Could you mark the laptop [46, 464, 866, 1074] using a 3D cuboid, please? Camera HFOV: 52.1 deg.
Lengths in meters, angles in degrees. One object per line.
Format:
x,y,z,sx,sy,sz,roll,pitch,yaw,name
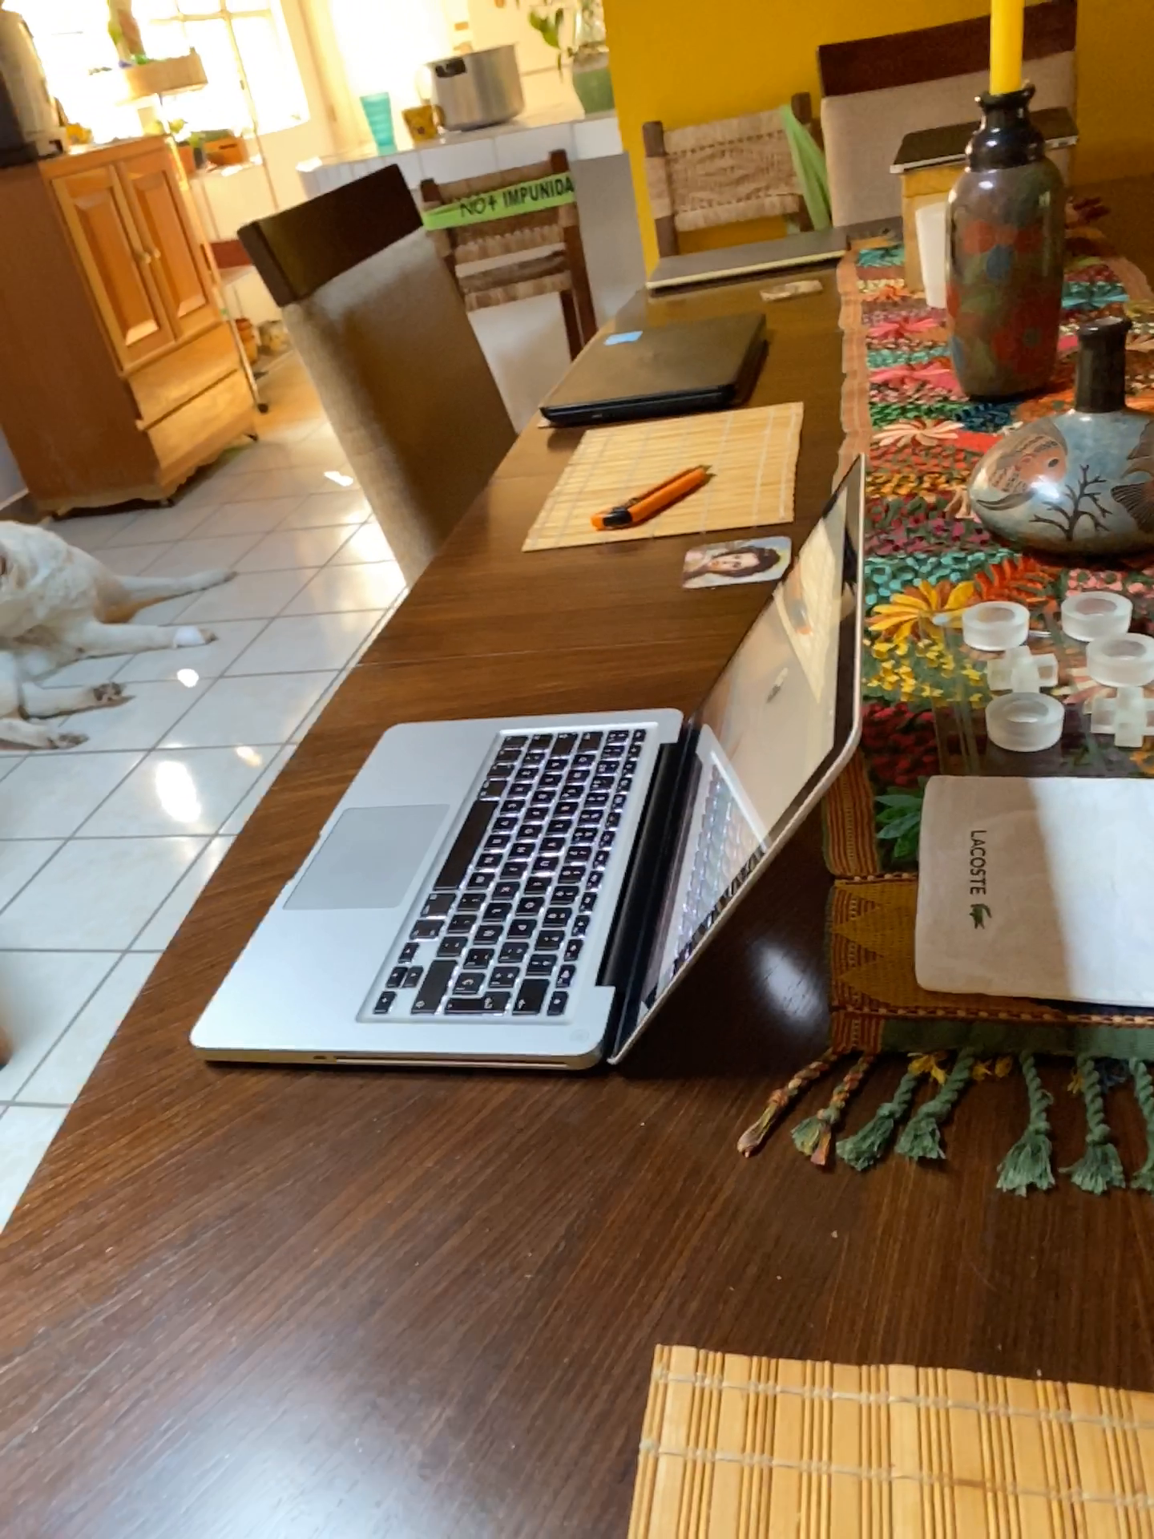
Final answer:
-0.025,-0.017,0.670,0.357,0.171,0.326,-2,32,16,laptop
